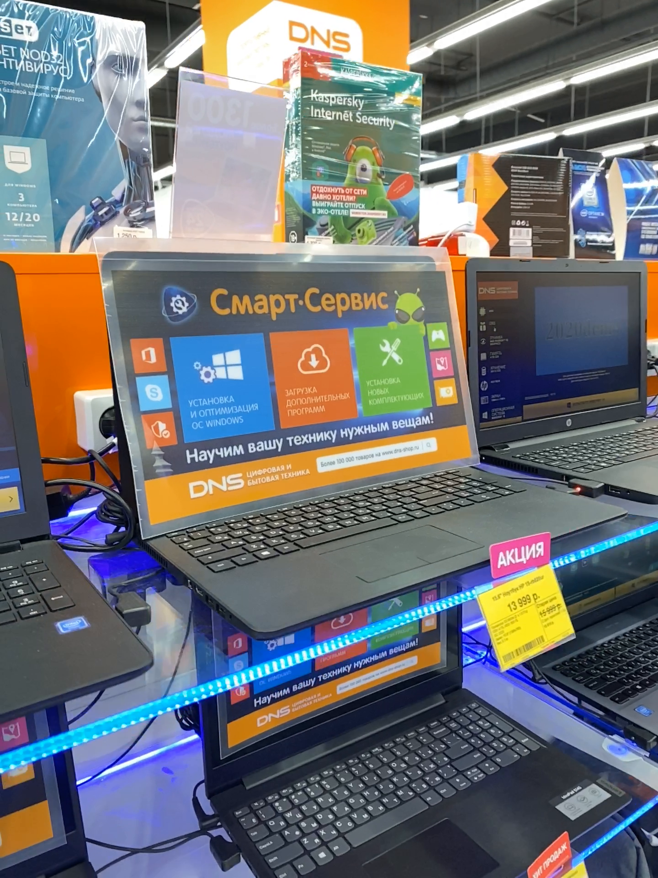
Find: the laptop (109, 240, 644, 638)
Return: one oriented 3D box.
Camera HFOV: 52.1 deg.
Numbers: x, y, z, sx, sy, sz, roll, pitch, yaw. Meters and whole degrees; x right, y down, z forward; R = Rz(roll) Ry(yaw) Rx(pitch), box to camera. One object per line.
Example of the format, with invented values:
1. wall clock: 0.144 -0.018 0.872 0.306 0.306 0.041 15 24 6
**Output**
1. laptop: 0.039 -0.043 0.599 0.377 0.235 0.262 -9 14 -32
